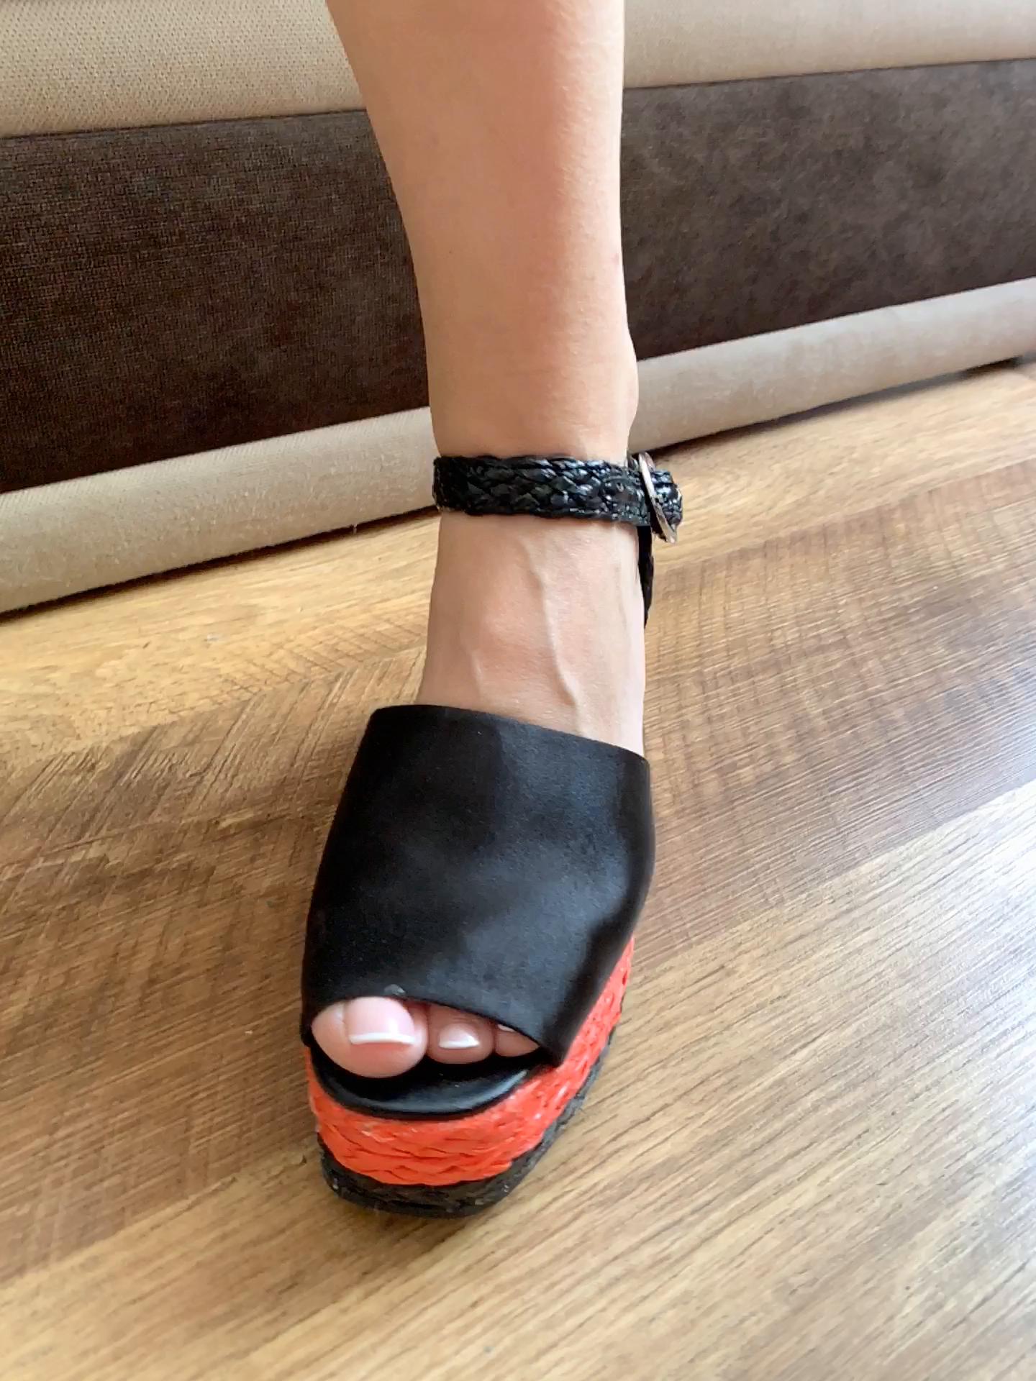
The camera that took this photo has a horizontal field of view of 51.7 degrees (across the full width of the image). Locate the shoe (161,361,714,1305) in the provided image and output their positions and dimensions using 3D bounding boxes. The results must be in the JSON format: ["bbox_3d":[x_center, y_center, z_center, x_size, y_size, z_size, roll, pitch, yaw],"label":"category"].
[{"bbox_3d":[0.001,0.013,0.306,0.089,0.124,0.241,7,38,6],"label":"shoe"}]
